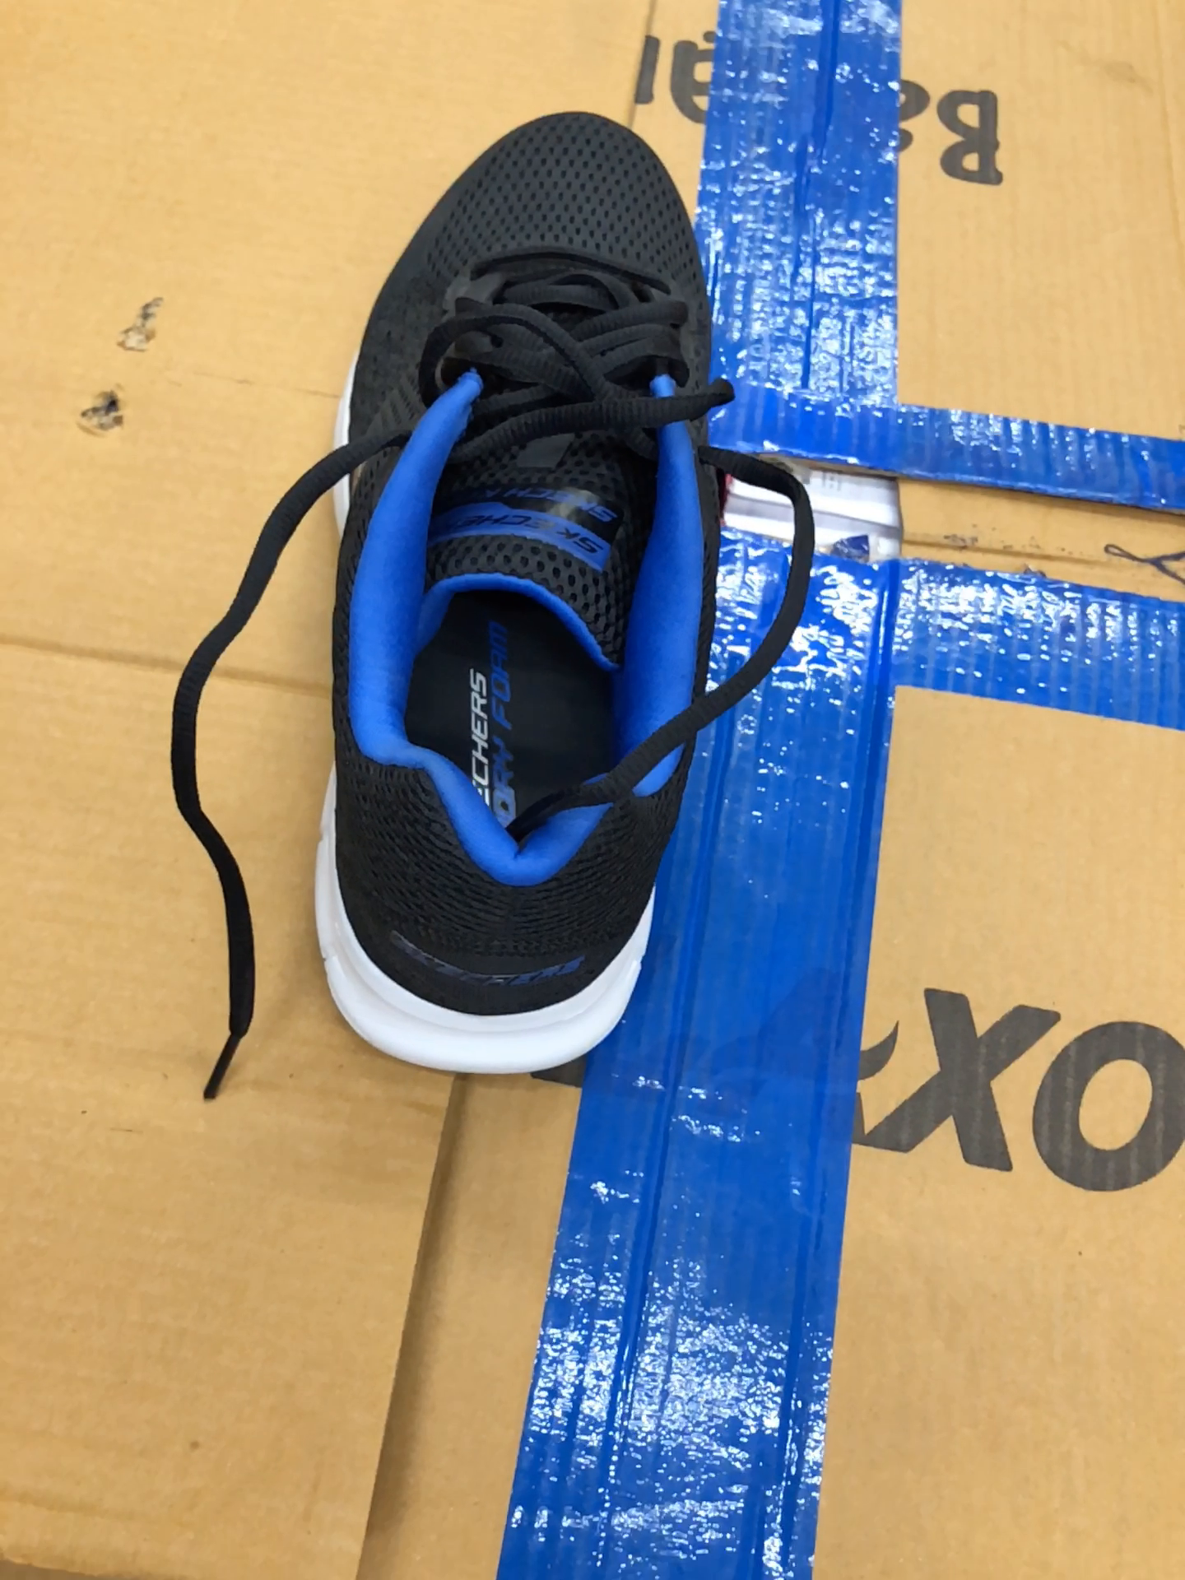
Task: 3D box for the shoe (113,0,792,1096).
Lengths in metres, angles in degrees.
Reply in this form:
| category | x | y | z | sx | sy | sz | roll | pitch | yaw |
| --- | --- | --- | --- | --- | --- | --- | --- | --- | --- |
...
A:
| category | x | y | z | sx | sy | sz | roll | pitch | yaw |
| --- | --- | --- | --- | --- | --- | --- | --- | --- | --- |
| shoe | -0.021 | -0.073 | 0.343 | 0.110 | 0.130 | 0.271 | 7 | 67 | -2 |
